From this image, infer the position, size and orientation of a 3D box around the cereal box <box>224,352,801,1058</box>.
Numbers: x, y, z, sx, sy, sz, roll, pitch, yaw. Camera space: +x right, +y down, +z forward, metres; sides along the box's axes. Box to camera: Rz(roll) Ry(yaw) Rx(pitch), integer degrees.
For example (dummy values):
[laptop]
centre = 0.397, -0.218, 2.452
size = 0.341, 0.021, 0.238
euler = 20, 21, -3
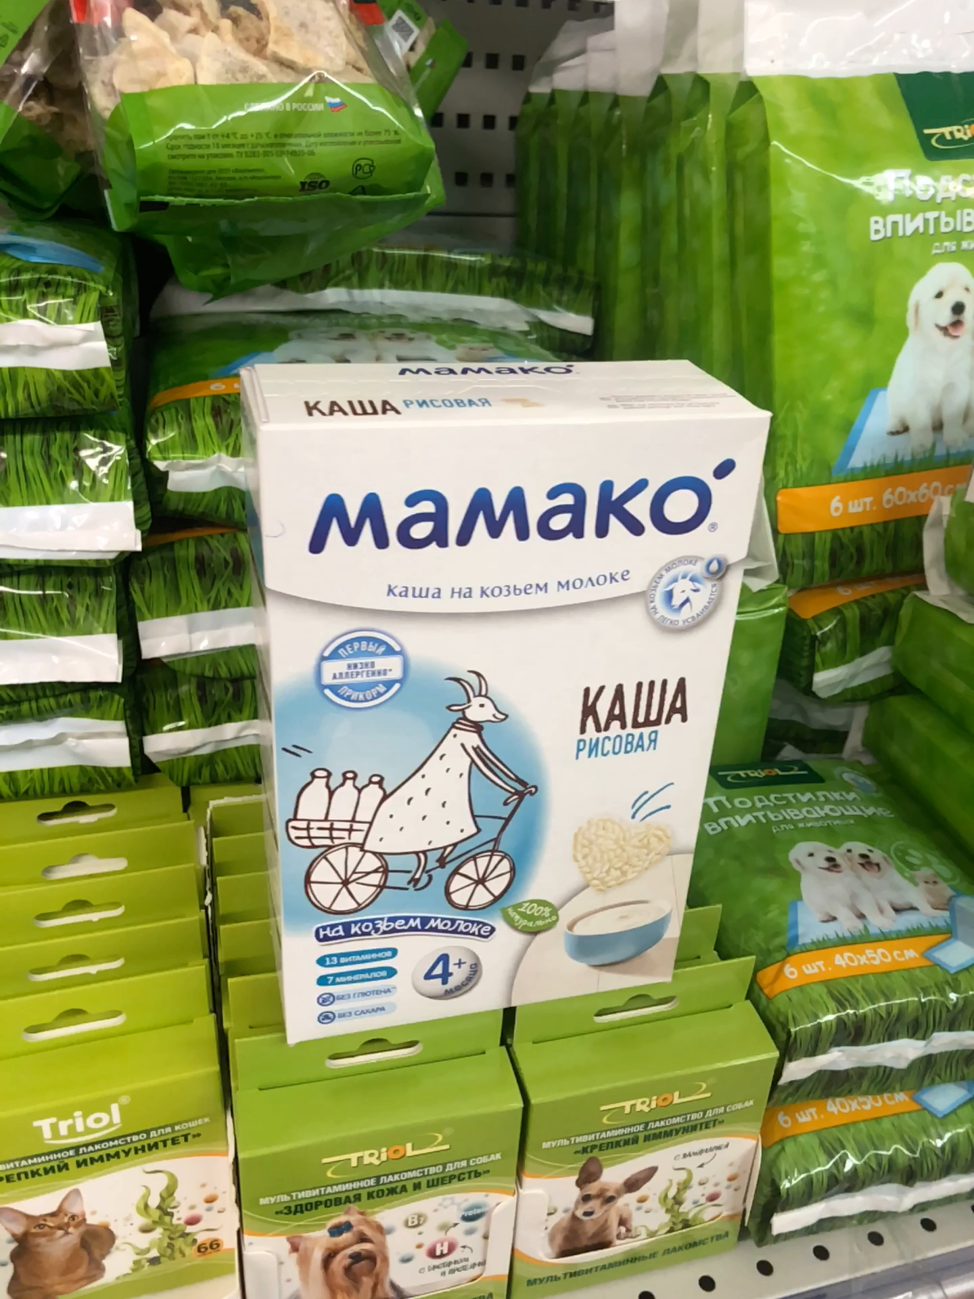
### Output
[cereal box]
centre = -0.001, 0.018, 0.327
size = 0.140, 0.199, 0.060
euler = -5, 29, -14
